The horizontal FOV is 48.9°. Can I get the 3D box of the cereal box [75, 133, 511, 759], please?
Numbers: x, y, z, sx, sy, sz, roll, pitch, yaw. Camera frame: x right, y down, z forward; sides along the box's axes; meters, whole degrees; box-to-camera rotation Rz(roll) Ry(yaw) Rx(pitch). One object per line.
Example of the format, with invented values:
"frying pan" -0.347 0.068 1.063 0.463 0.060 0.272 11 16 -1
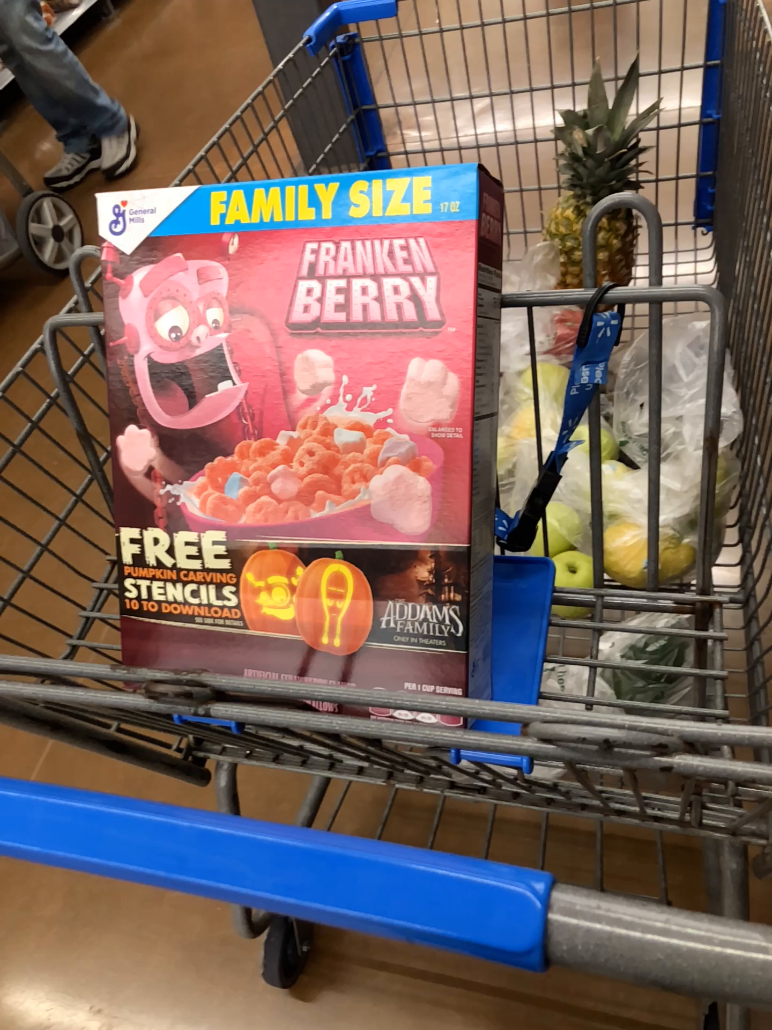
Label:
"cereal box" -0.055 -0.038 0.509 0.240 0.320 0.070 4 11 21
